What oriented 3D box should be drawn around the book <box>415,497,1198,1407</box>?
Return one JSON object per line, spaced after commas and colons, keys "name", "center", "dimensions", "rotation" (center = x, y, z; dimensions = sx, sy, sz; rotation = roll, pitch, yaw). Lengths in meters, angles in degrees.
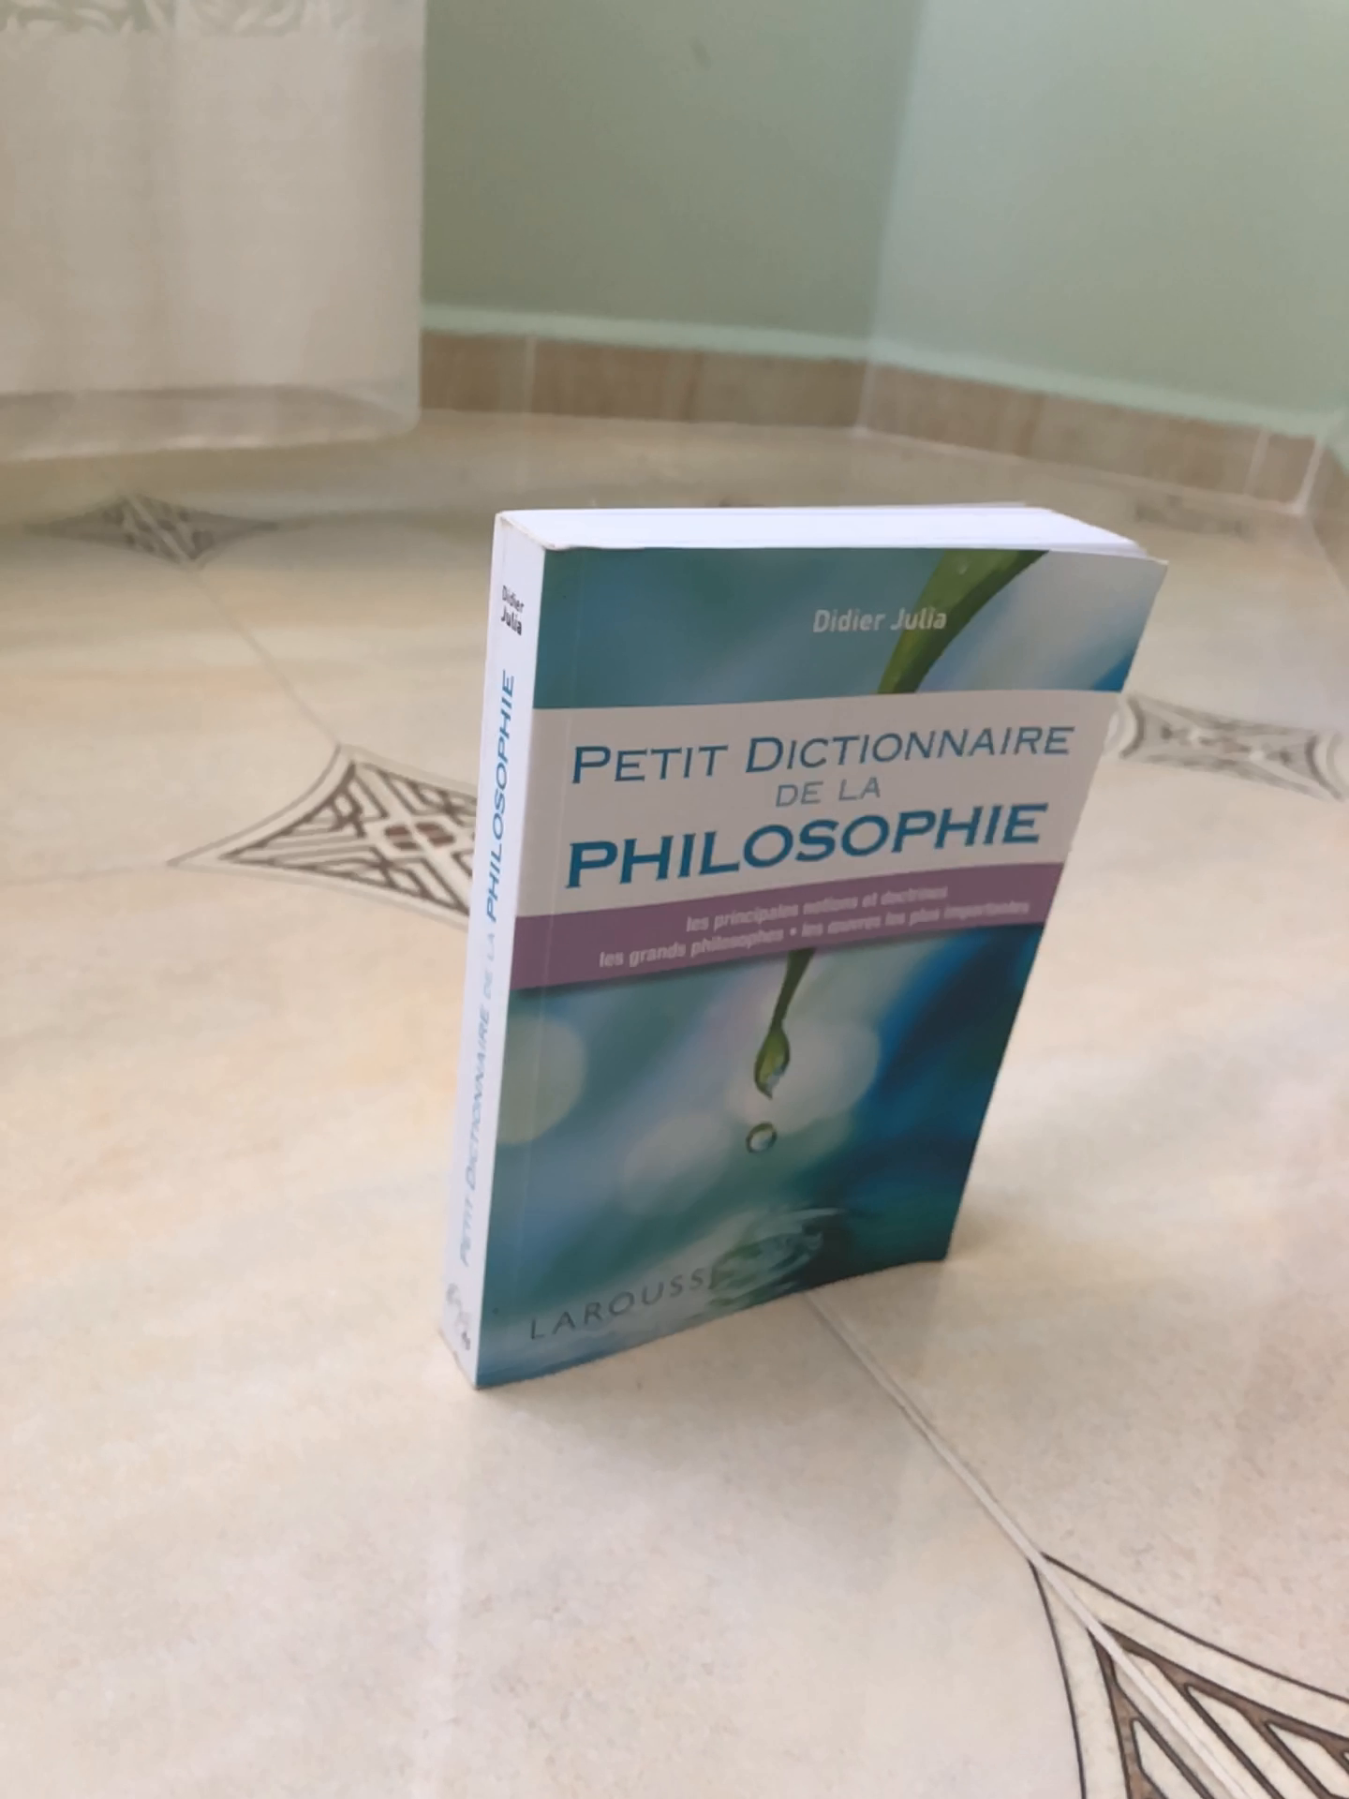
{"name": "book", "center": [0.022, 0.011, 0.323], "dimensions": [0.140, 0.185, 0.034], "rotation": [-8, 32, -28]}
